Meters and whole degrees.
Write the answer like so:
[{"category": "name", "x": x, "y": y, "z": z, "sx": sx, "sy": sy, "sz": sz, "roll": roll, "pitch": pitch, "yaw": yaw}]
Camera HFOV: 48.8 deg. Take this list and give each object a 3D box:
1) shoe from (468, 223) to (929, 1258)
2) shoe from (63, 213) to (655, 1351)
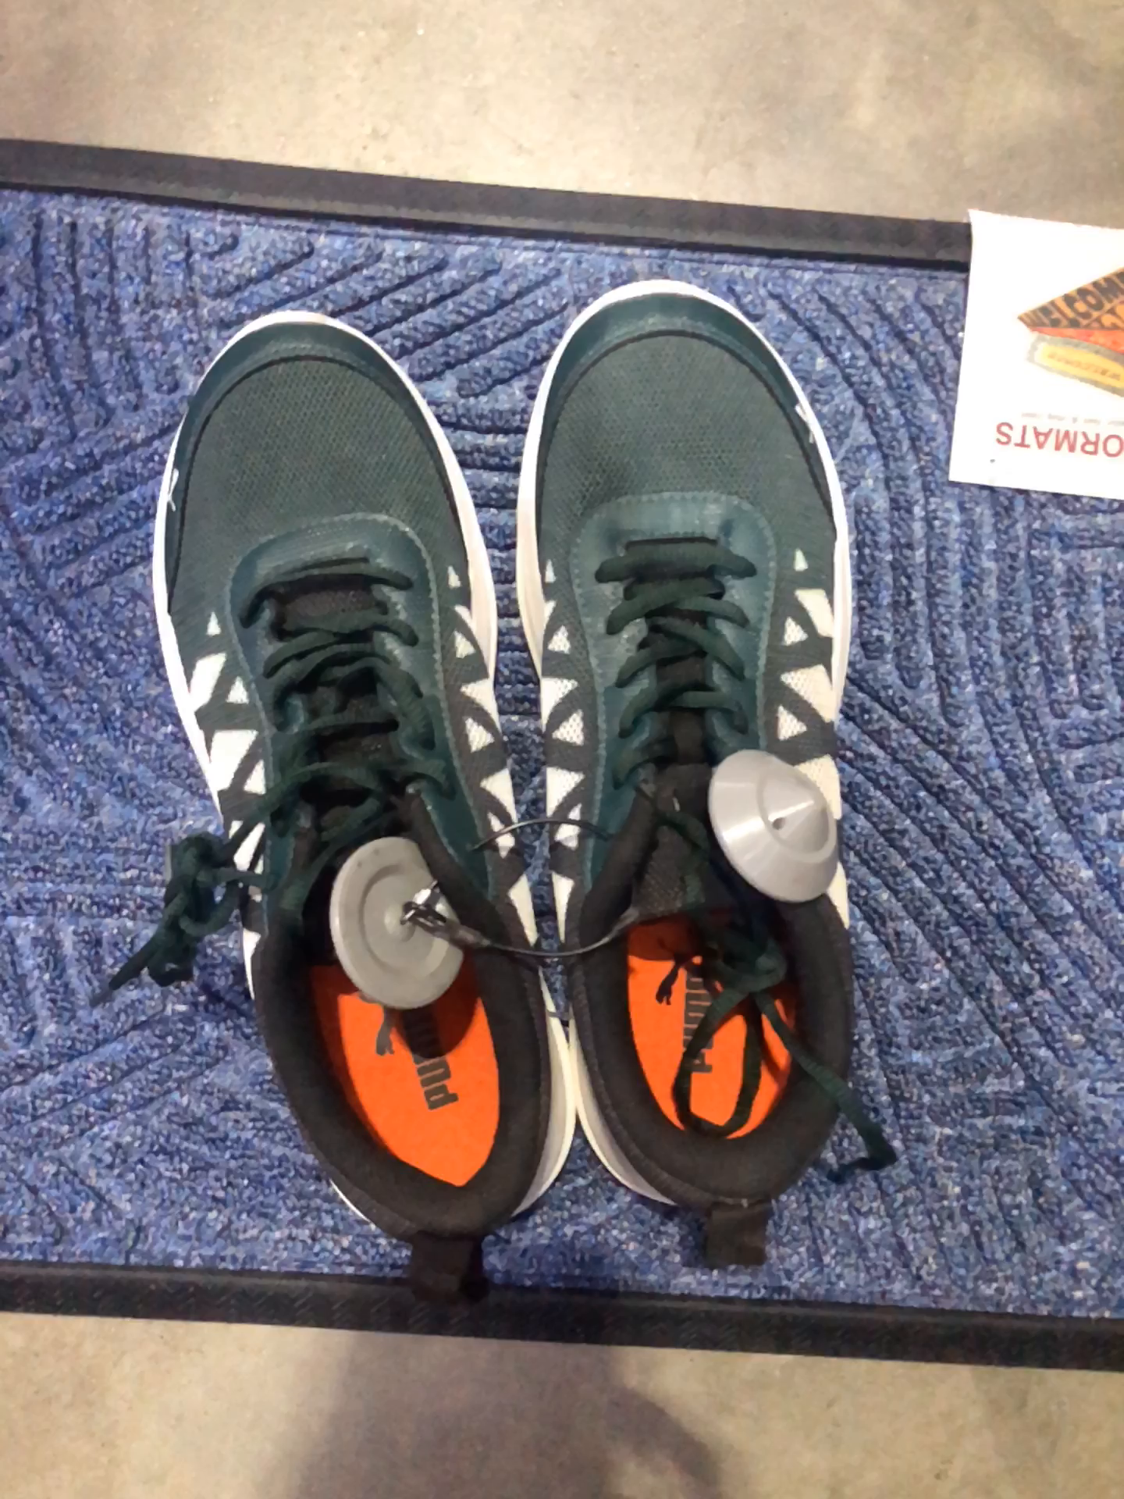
[{"category": "shoe", "x": 0.037, "y": -0.005, "z": 0.381, "sx": 0.120, "sy": 0.060, "sz": 0.290, "roll": -2, "pitch": 88, "yaw": -2}, {"category": "shoe", "x": -0.060, "y": 0.007, "z": 0.385, "sx": 0.110, "sy": 0.060, "sz": 0.310, "roll": -12, "pitch": 88, "yaw": -2}]
